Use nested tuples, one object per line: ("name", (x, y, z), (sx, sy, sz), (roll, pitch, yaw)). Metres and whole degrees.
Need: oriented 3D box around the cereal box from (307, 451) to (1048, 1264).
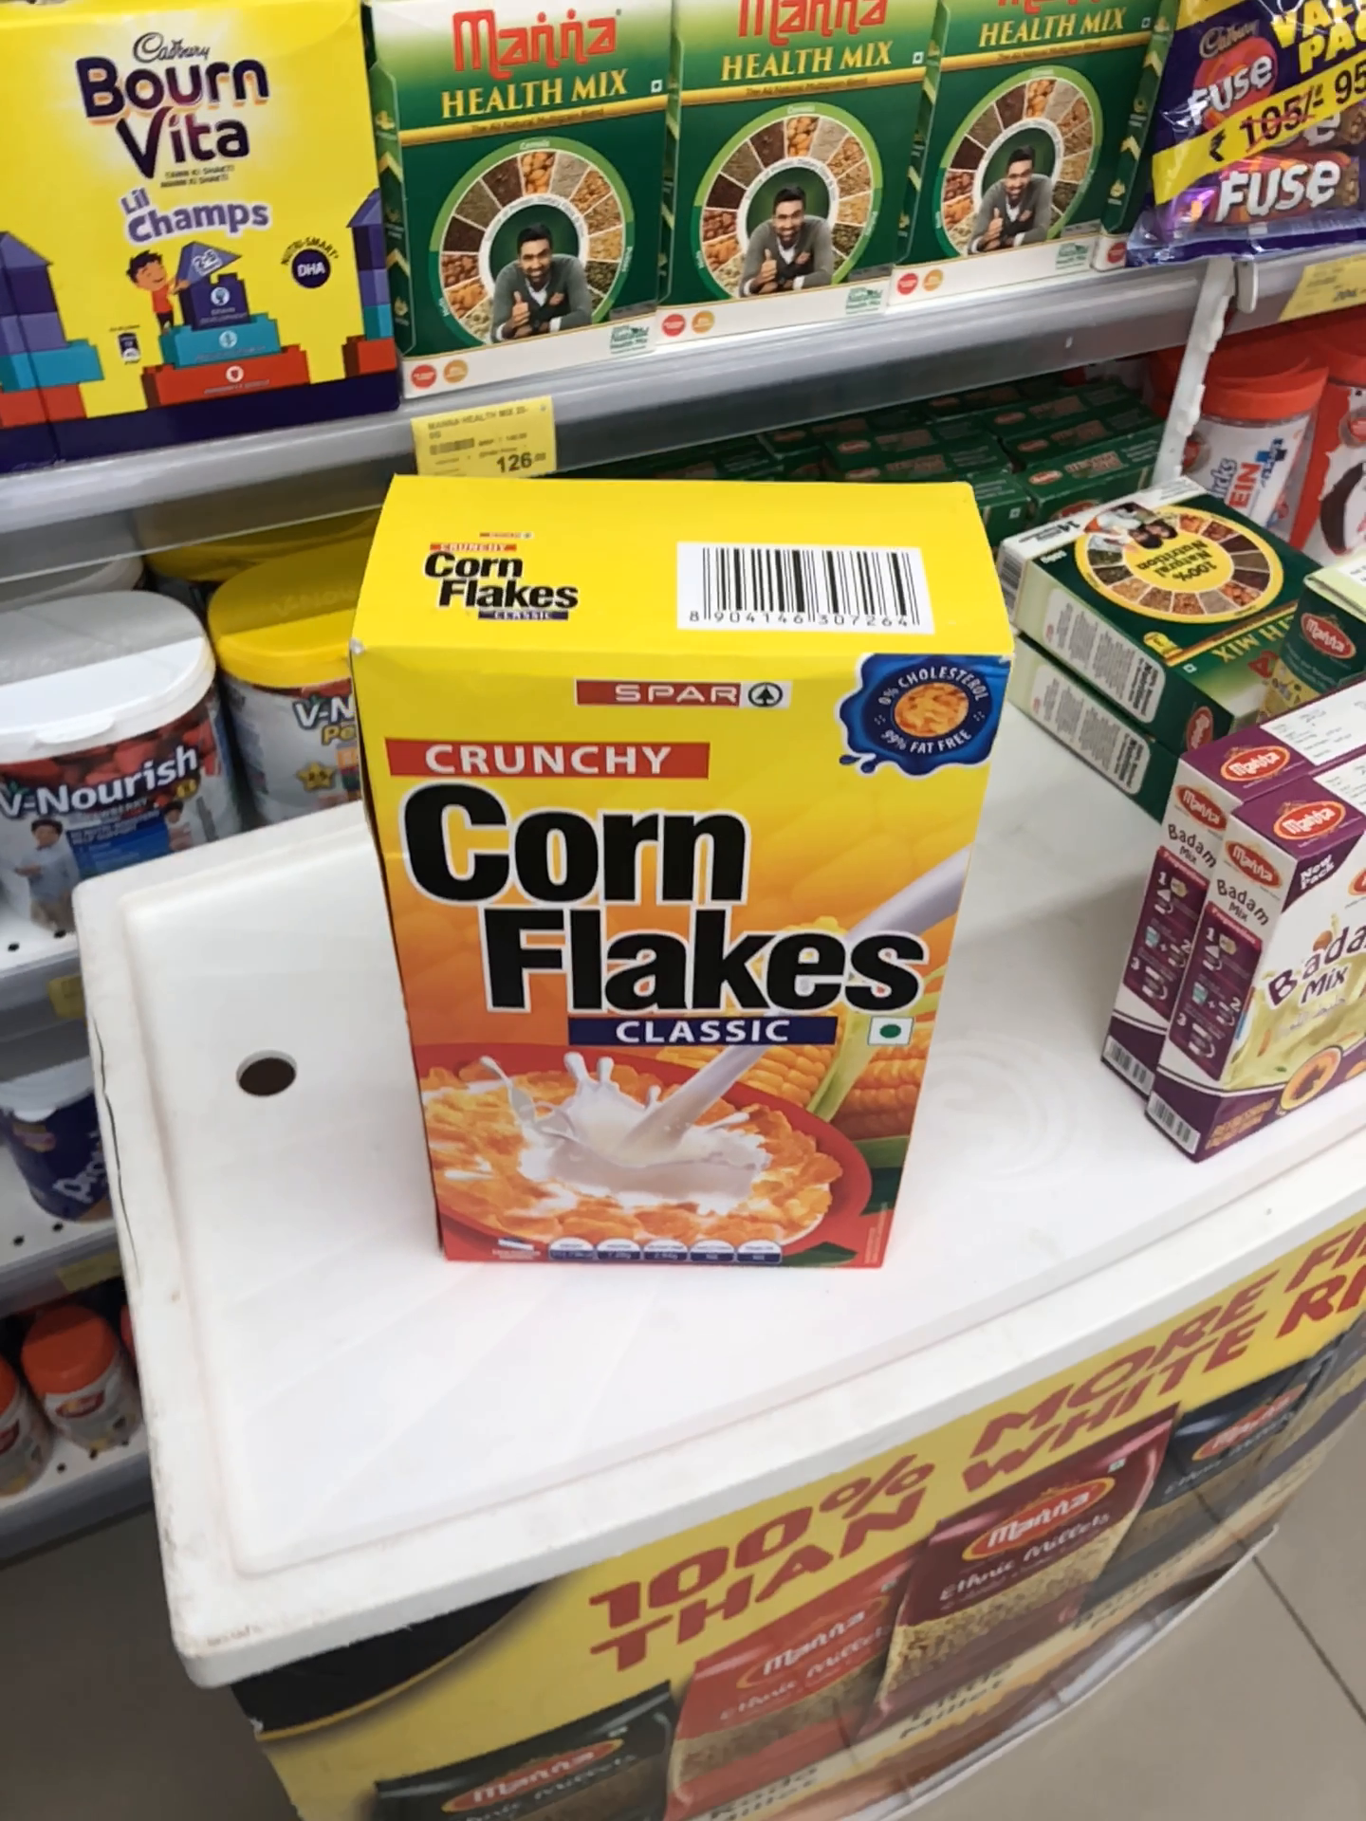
("cereal box", (-0.005, 0.003, 0.555), (0.200, 0.319, 0.090), (2, 46, -1))
